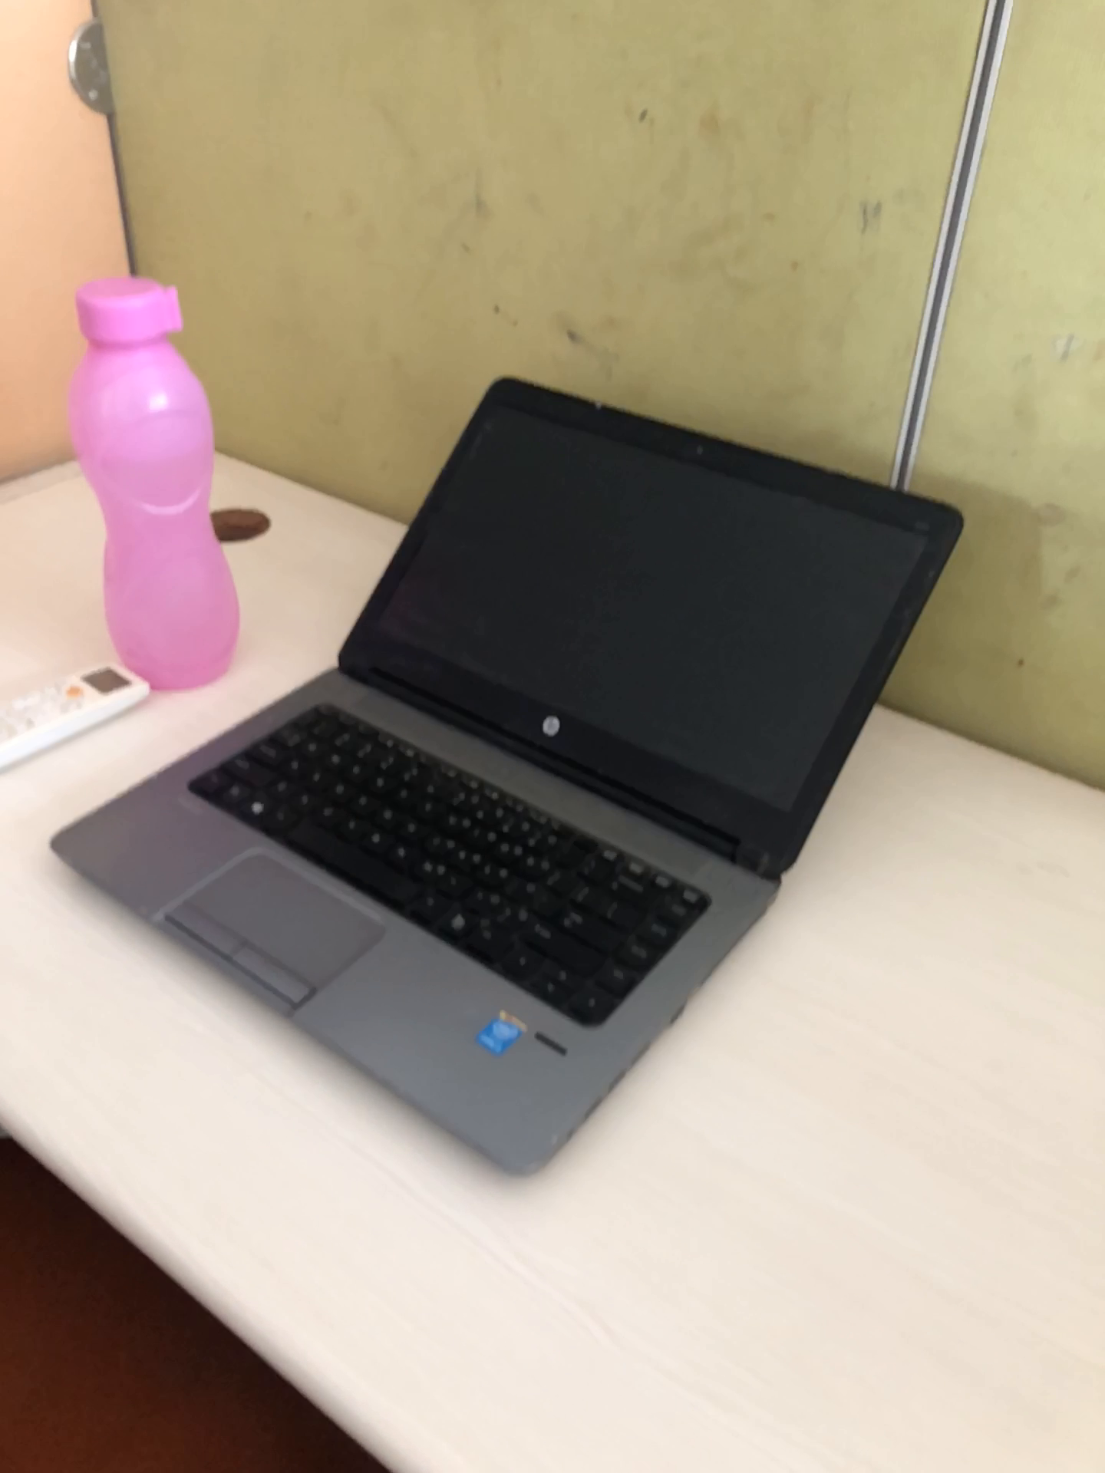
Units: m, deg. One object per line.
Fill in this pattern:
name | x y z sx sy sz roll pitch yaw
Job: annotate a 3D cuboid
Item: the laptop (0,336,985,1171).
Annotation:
laptop | -0.020 -0.046 0.663 0.327 0.147 0.408 24 45 29
